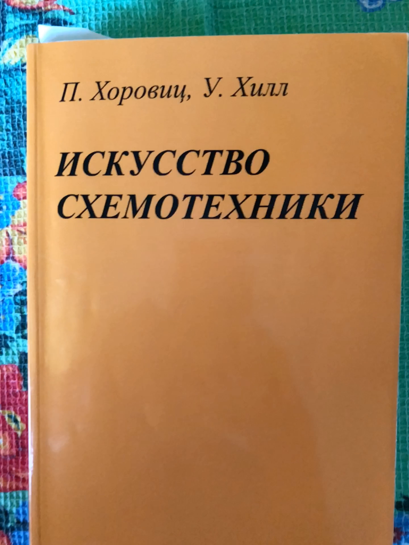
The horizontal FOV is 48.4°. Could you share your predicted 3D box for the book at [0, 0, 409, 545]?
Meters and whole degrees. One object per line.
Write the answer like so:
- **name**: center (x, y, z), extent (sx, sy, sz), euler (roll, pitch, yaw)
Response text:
- **book**: center (0.001, 0.009, 0.226), extent (0.180, 0.050, 0.260), euler (1, 87, 5)
